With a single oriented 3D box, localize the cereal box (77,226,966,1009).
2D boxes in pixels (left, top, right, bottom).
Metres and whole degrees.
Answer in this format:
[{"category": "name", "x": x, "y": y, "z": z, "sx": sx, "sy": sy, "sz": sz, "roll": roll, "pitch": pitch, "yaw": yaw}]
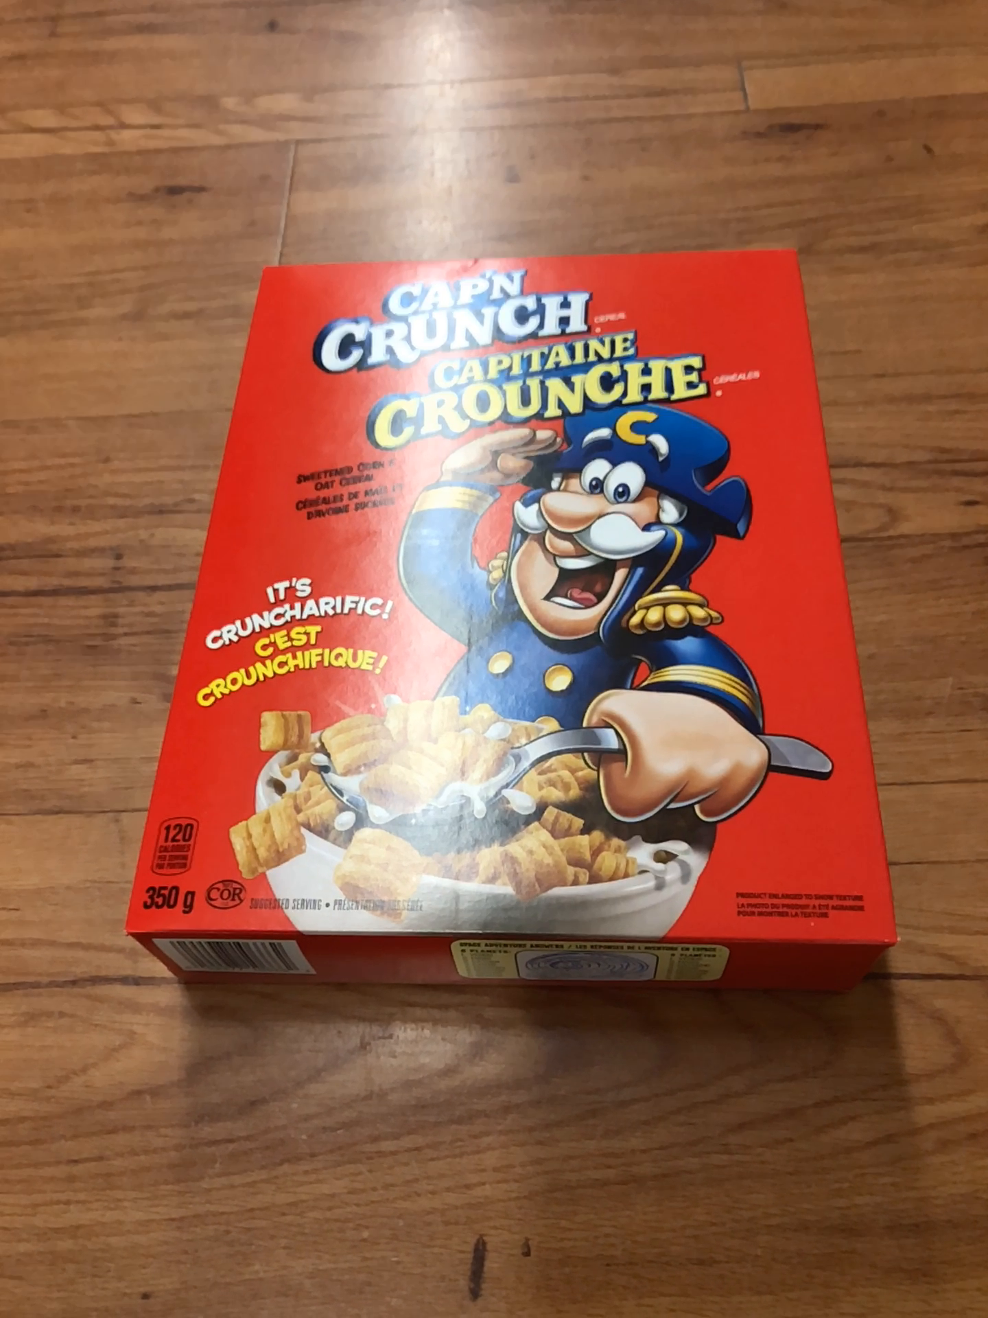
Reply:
[{"category": "cereal box", "x": 0.009, "y": -0.026, "z": 0.362, "sx": 0.220, "sy": 0.060, "sz": 0.261, "roll": -1, "pitch": 60, "yaw": 5}]
